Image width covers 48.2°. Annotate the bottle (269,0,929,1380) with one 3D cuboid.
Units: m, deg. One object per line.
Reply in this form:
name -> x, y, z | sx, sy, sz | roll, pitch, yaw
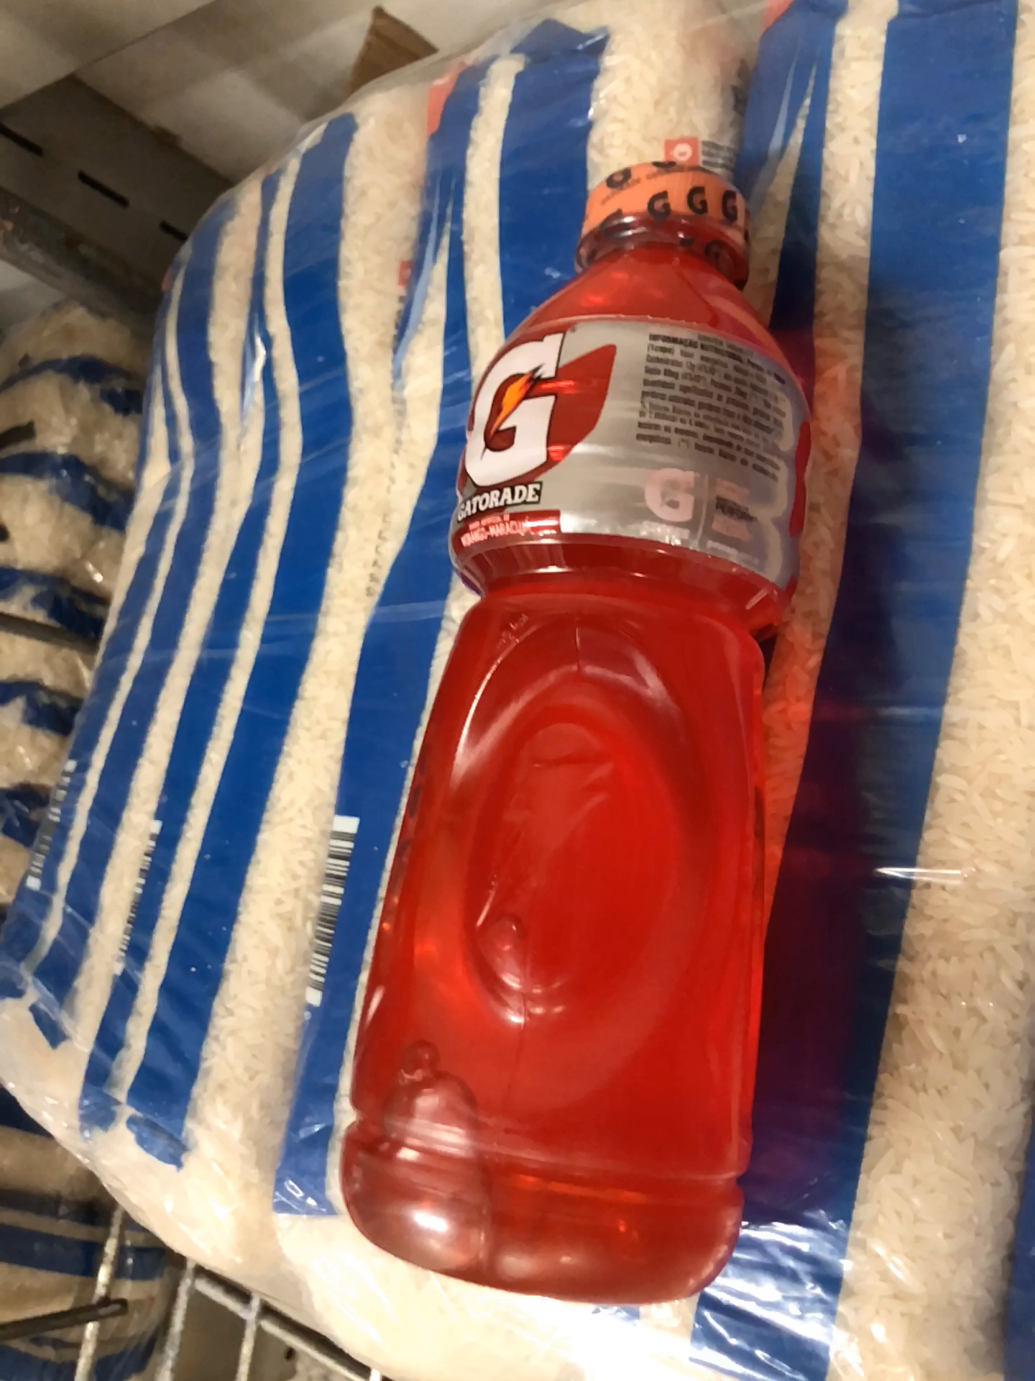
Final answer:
bottle -> 0.019, -0.006, 0.207 | 0.080, 0.060, 0.220 | -1, 79, 38
